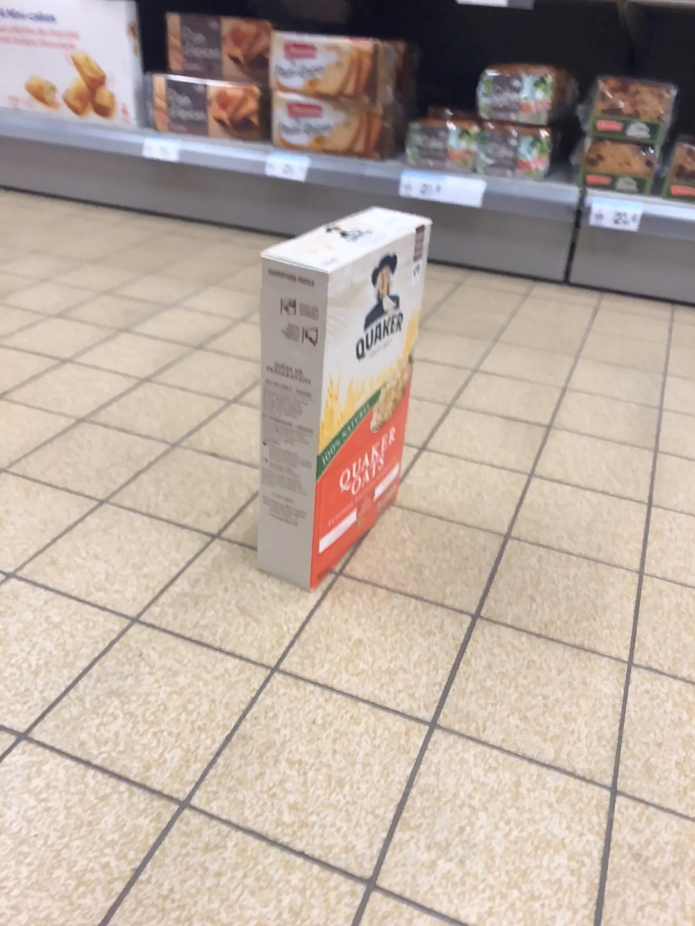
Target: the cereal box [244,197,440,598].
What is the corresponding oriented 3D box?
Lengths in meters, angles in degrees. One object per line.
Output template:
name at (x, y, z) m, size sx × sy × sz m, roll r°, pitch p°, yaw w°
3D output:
cereal box at (-0.004, -0.047, 0.521) m, size 0.050 × 0.229 × 0.151 m, roll 19°, pitch 33°, yaw 24°
